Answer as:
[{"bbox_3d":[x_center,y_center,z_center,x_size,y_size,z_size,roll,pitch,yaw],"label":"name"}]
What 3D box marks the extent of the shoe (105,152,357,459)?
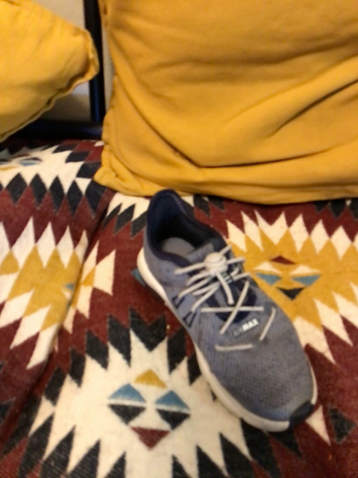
[{"bbox_3d":[0.034,0.029,0.295,0.094,0.074,0.212,-22,51,-24],"label":"shoe"}]
